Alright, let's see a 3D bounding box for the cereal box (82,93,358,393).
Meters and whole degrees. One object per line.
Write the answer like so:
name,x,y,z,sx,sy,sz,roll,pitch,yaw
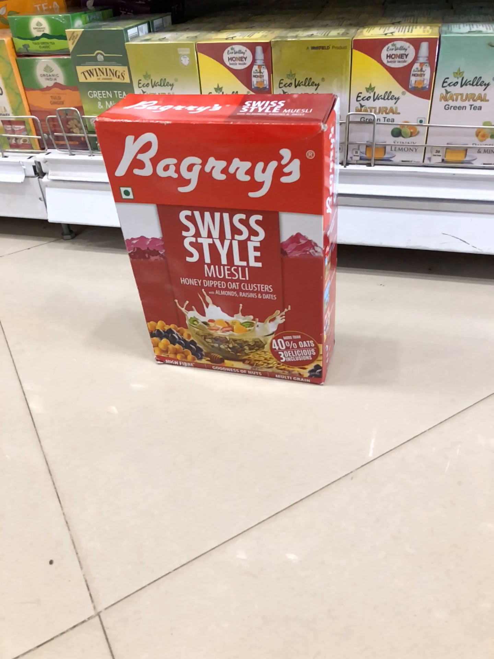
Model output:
cereal box,-0.010,-0.074,0.496,0.200,0.248,0.081,7,39,16
